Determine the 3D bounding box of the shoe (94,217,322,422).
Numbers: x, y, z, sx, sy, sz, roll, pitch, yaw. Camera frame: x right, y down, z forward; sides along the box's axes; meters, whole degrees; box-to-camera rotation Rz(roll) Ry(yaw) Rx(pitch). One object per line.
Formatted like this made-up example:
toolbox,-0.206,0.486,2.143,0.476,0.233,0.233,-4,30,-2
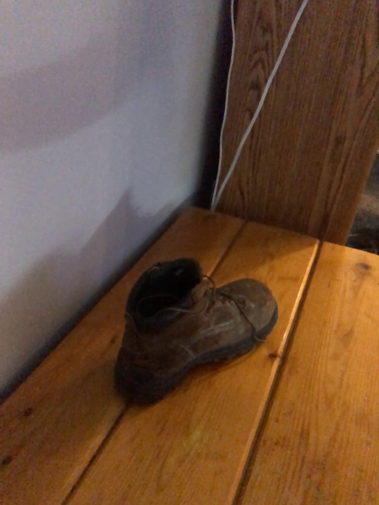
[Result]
shoe,0.031,0.074,0.592,0.290,0.130,0.130,-23,43,-34
